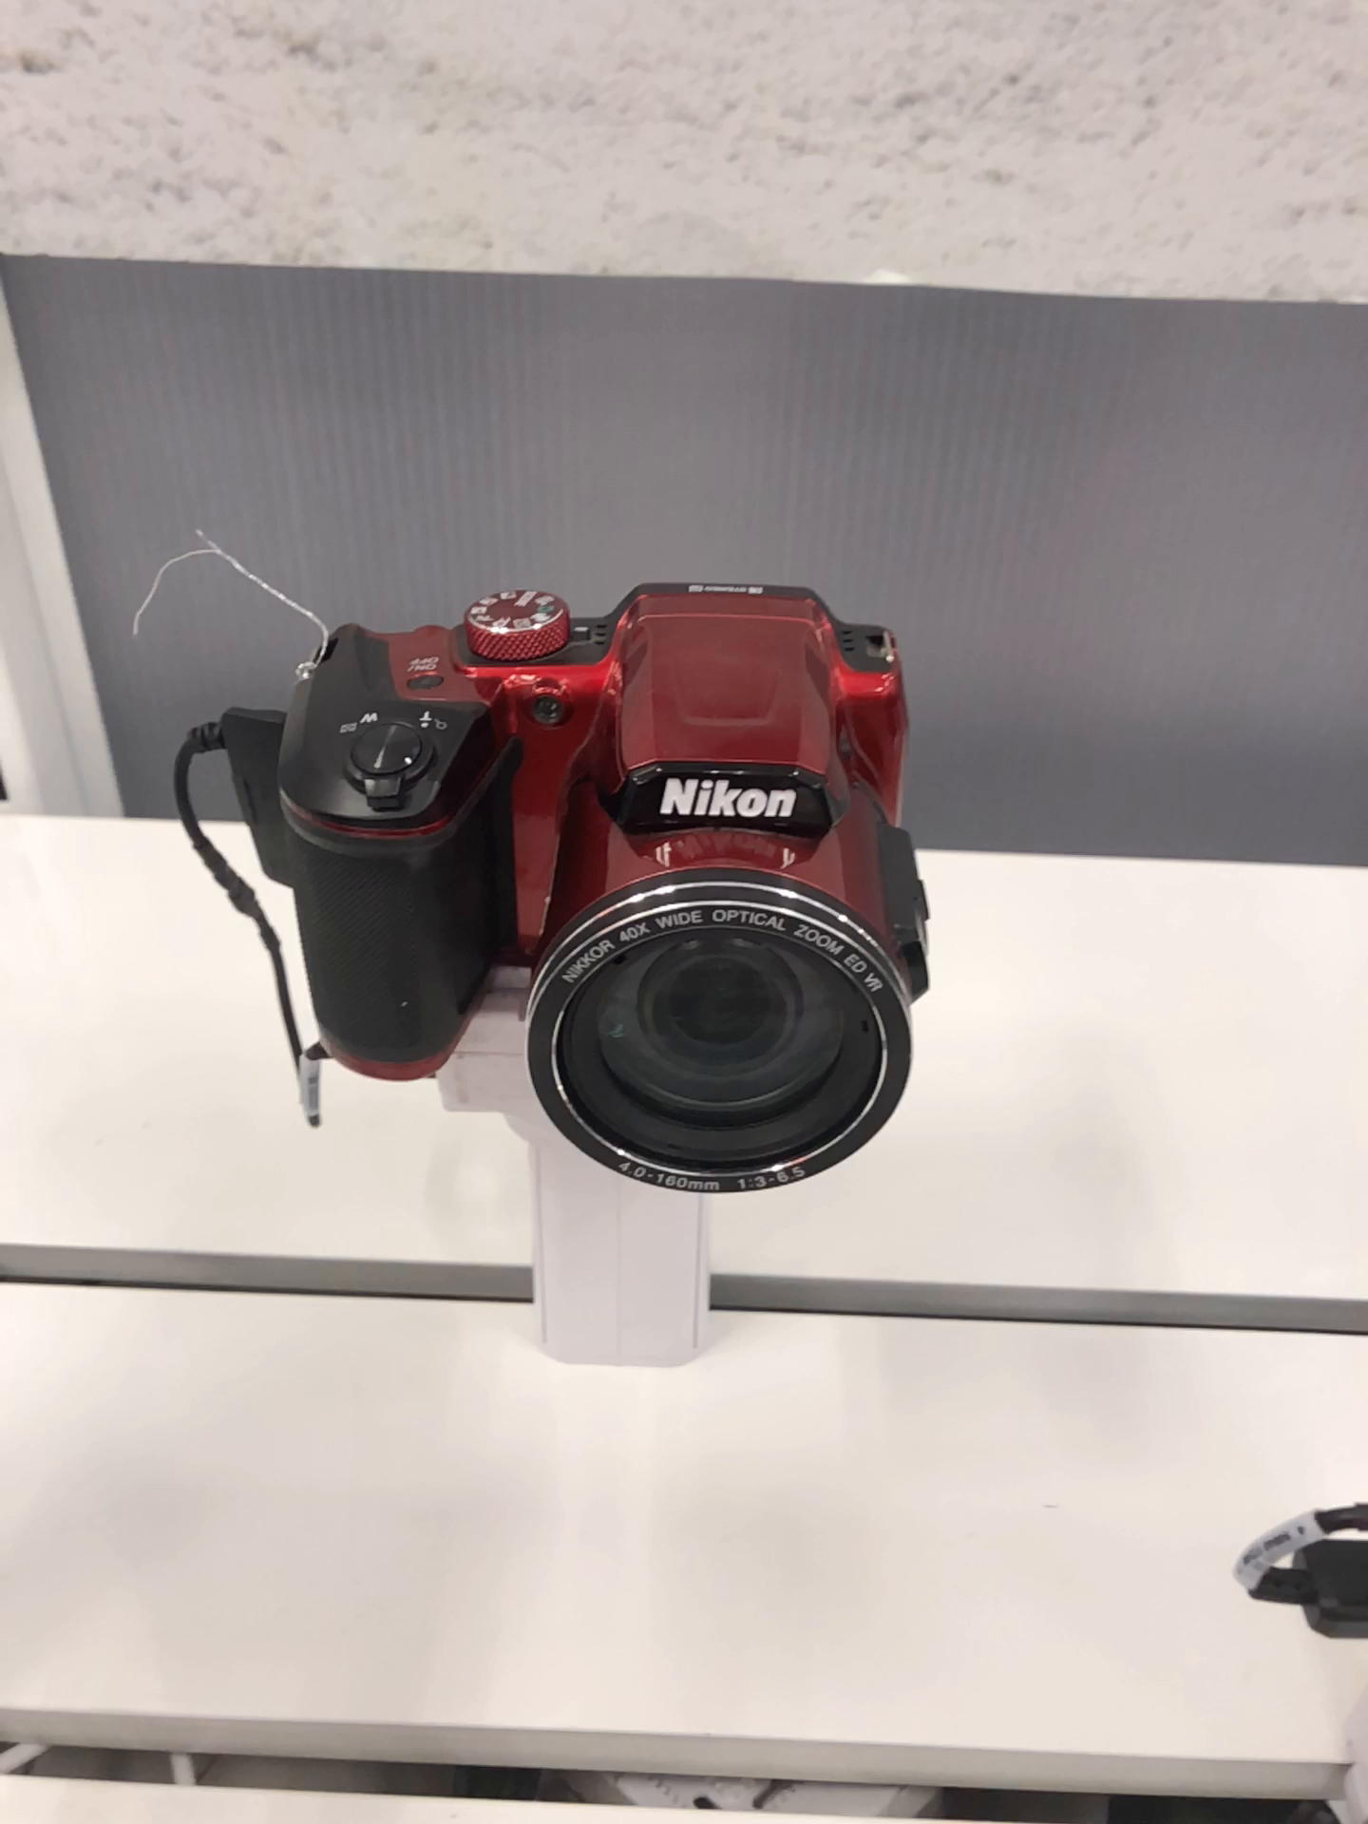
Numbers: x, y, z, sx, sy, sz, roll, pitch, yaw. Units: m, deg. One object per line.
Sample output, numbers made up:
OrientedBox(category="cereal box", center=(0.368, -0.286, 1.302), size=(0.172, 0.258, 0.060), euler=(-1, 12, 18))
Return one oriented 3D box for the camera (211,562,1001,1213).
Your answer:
OrientedBox(category="camera", center=(-0.011, -0.007, 0.267), size=(0.110, 0.073, 0.084), euler=(3, 37, 0))
